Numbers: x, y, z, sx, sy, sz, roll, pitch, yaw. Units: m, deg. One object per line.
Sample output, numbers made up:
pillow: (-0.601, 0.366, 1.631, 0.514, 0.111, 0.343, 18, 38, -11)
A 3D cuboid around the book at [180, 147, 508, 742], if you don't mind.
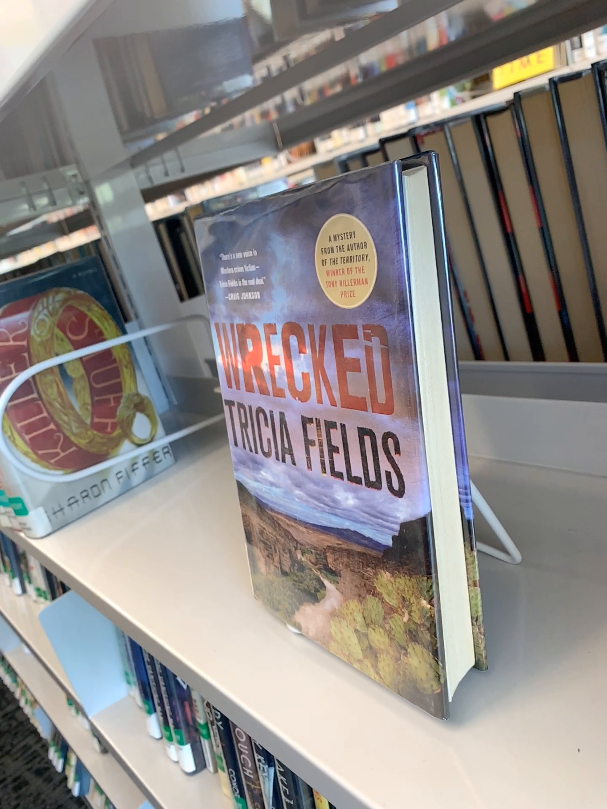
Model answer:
book: (0.011, 0.013, 0.287, 0.034, 0.214, 0.151, -16, 14, -33)
